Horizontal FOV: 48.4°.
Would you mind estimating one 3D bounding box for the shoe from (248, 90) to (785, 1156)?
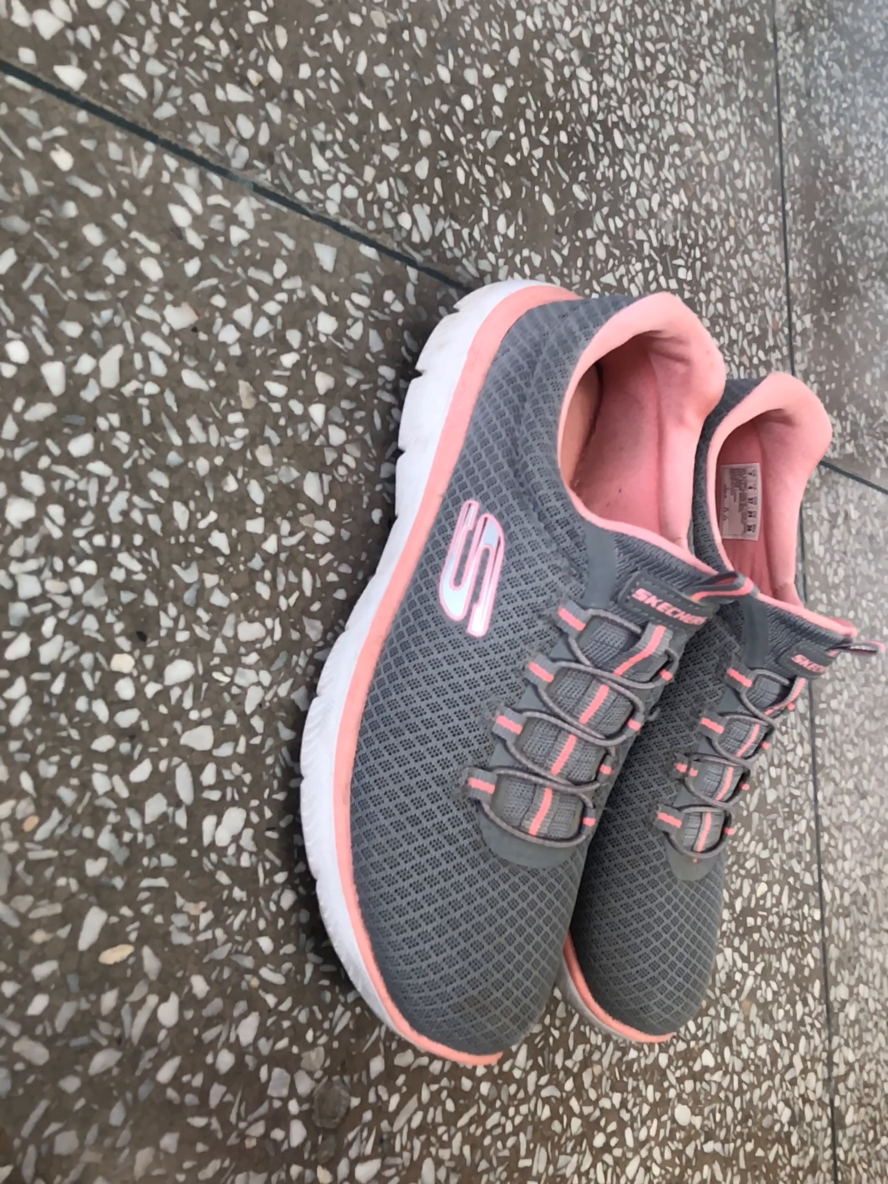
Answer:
[{"bbox_3d":[0.030,0.007,0.291,0.097,0.094,0.252,20,69,-40],"label":"shoe"}]

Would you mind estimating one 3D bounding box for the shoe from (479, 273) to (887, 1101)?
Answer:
[{"bbox_3d":[0.099,0.034,0.361,0.102,0.108,0.246,20,69,-40],"label":"shoe"}]
